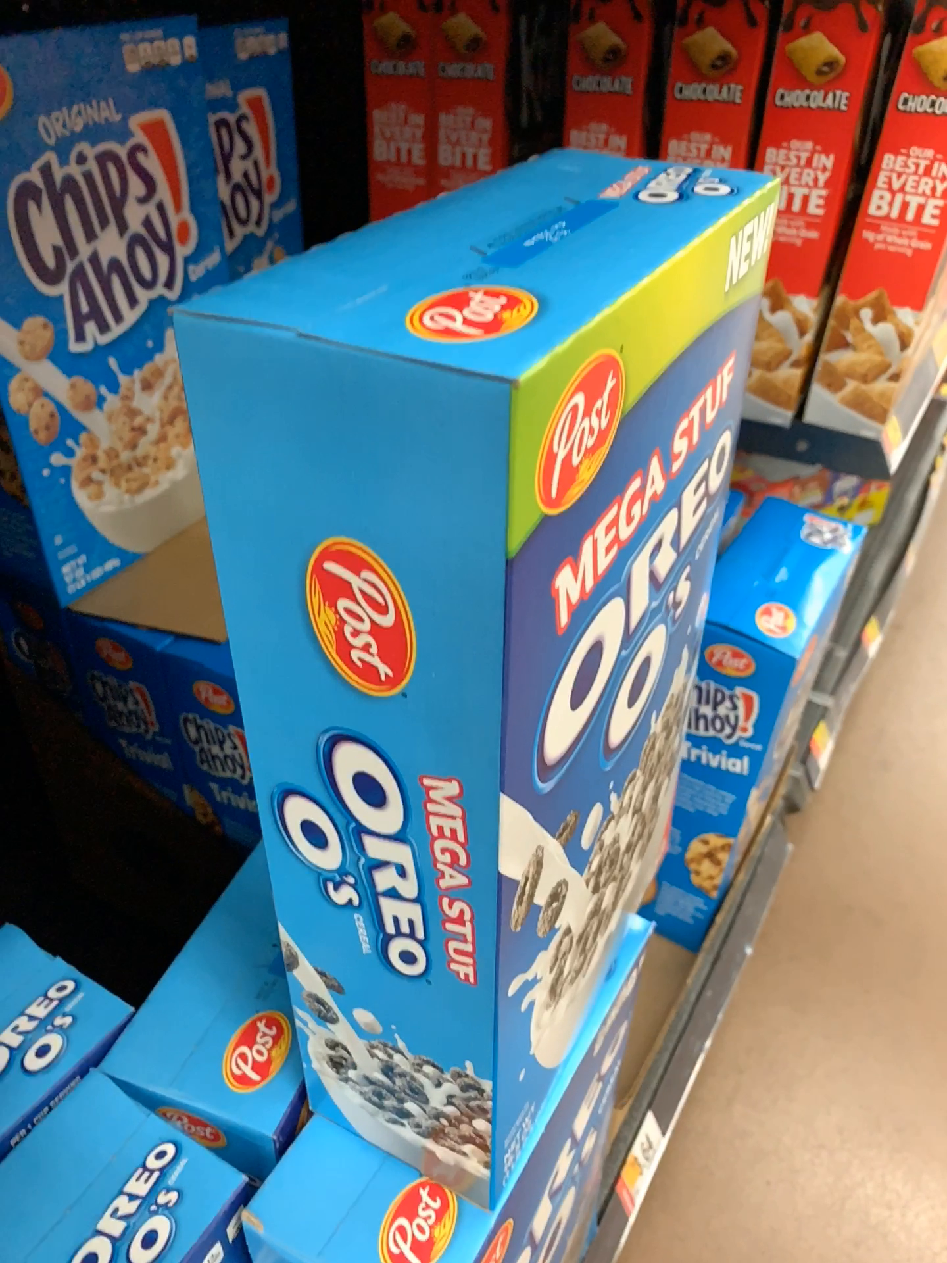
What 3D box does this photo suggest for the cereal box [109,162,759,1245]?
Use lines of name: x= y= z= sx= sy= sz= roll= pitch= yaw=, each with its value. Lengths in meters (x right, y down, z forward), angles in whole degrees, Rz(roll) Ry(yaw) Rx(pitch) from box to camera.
cereal box: x=0.011 y=0.023 z=0.336 sx=0.080 sy=0.298 sz=0.201 roll=15 pitch=38 yaw=22
